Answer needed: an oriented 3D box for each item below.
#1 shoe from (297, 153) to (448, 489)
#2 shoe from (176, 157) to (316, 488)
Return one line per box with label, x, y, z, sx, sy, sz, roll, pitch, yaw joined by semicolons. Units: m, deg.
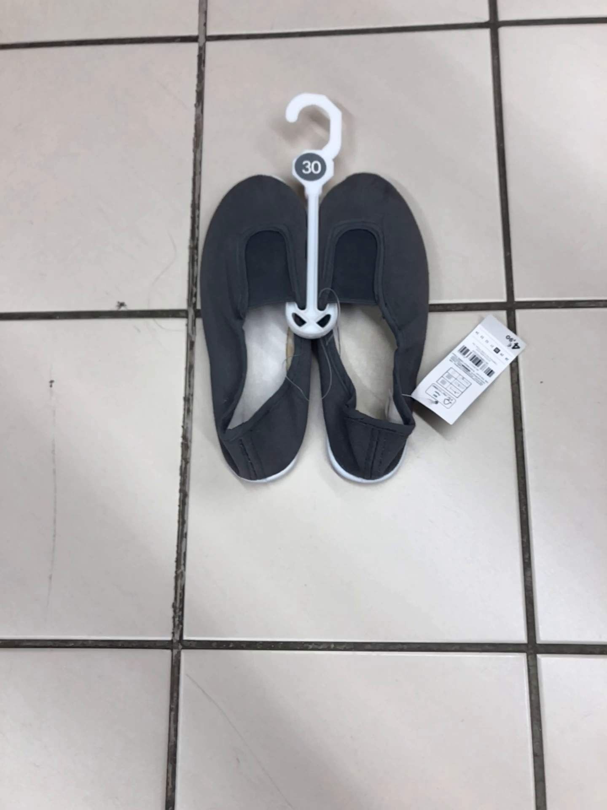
shoe;0.038;-0.047;0.387;0.077;0.046;0.185;0;78;4
shoe;-0.029;-0.047;0.391;0.070;0.046;0.185;0;78;4
